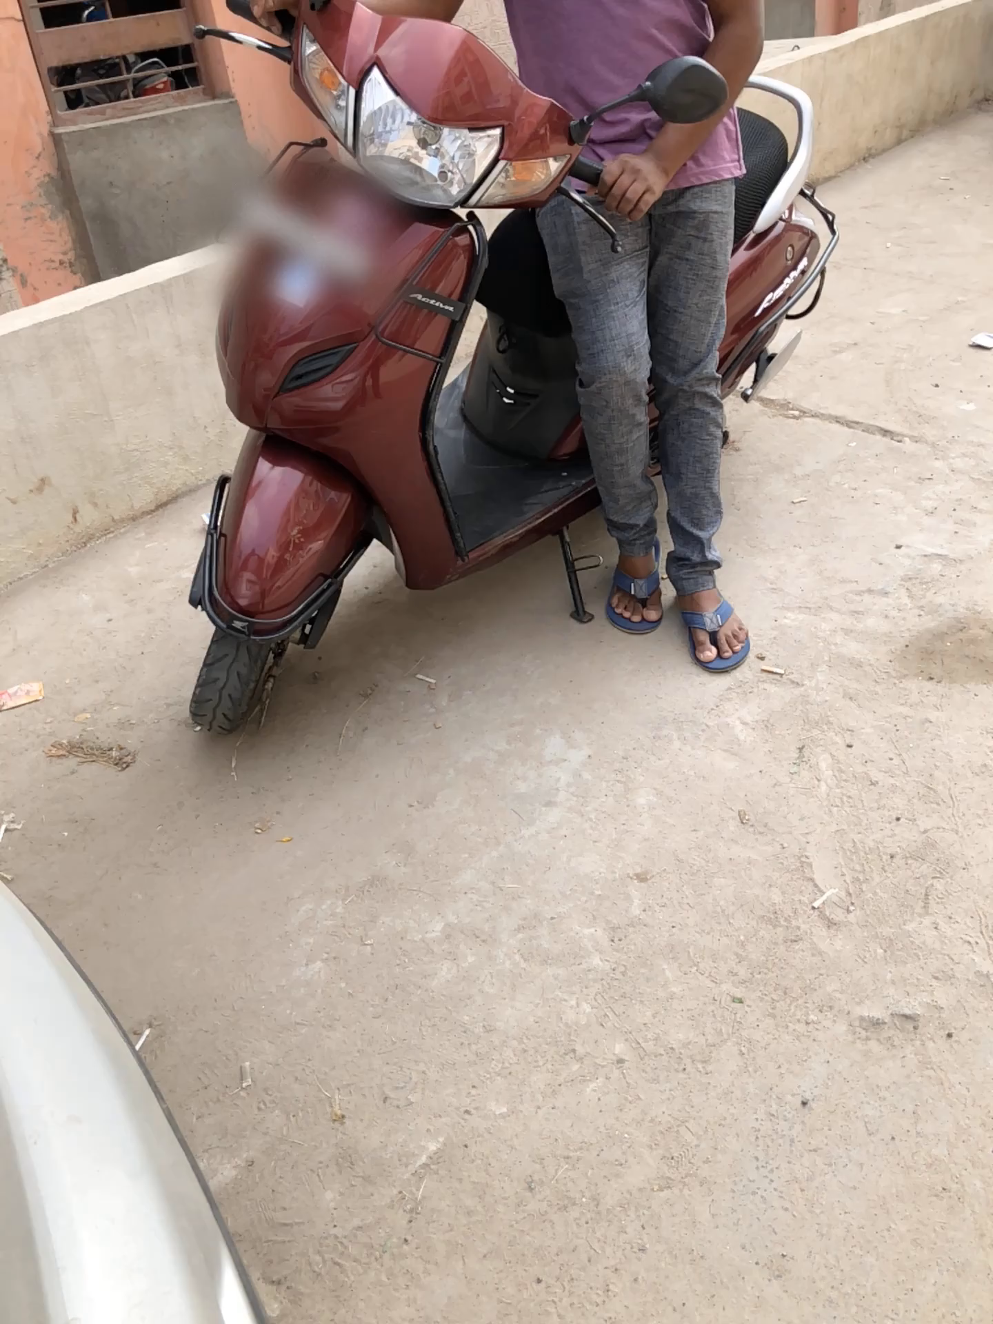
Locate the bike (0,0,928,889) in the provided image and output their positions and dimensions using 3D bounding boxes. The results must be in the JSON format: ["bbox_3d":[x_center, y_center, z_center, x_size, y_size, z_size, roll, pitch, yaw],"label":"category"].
[{"bbox_3d":[0.070,-0.594,1.965,0.629,1.073,1.585,21,44,36],"label":"bike"}]
